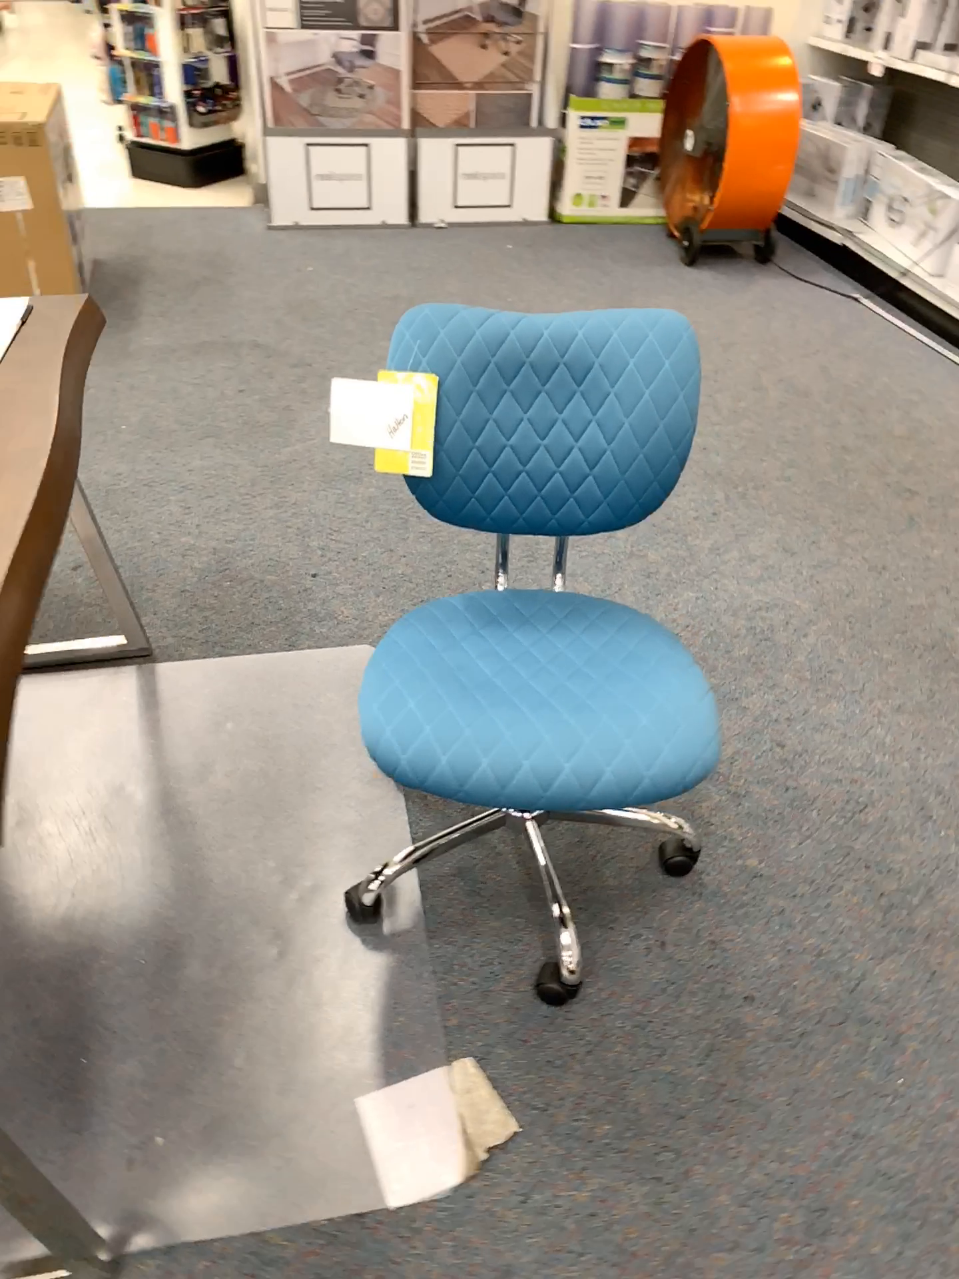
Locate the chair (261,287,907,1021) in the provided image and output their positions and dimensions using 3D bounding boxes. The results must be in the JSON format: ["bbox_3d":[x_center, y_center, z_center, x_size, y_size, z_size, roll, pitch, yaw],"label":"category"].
[{"bbox_3d":[0.091,0.010,1.405,0.598,0.775,0.668,3,37,0],"label":"chair"}]
